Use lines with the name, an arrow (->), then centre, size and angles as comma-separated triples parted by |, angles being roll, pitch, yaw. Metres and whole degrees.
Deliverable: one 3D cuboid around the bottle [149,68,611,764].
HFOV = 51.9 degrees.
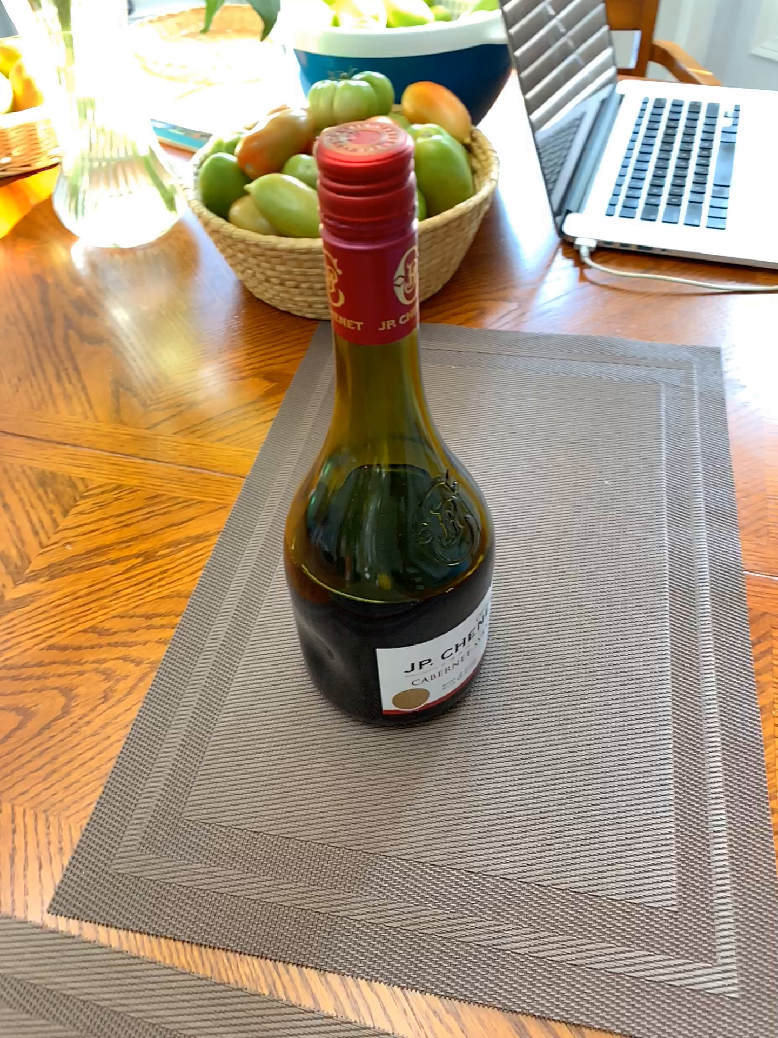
bottle -> -0.002, -0.023, 0.334 | 0.100, 0.258, 0.101 | -1, 47, 1
